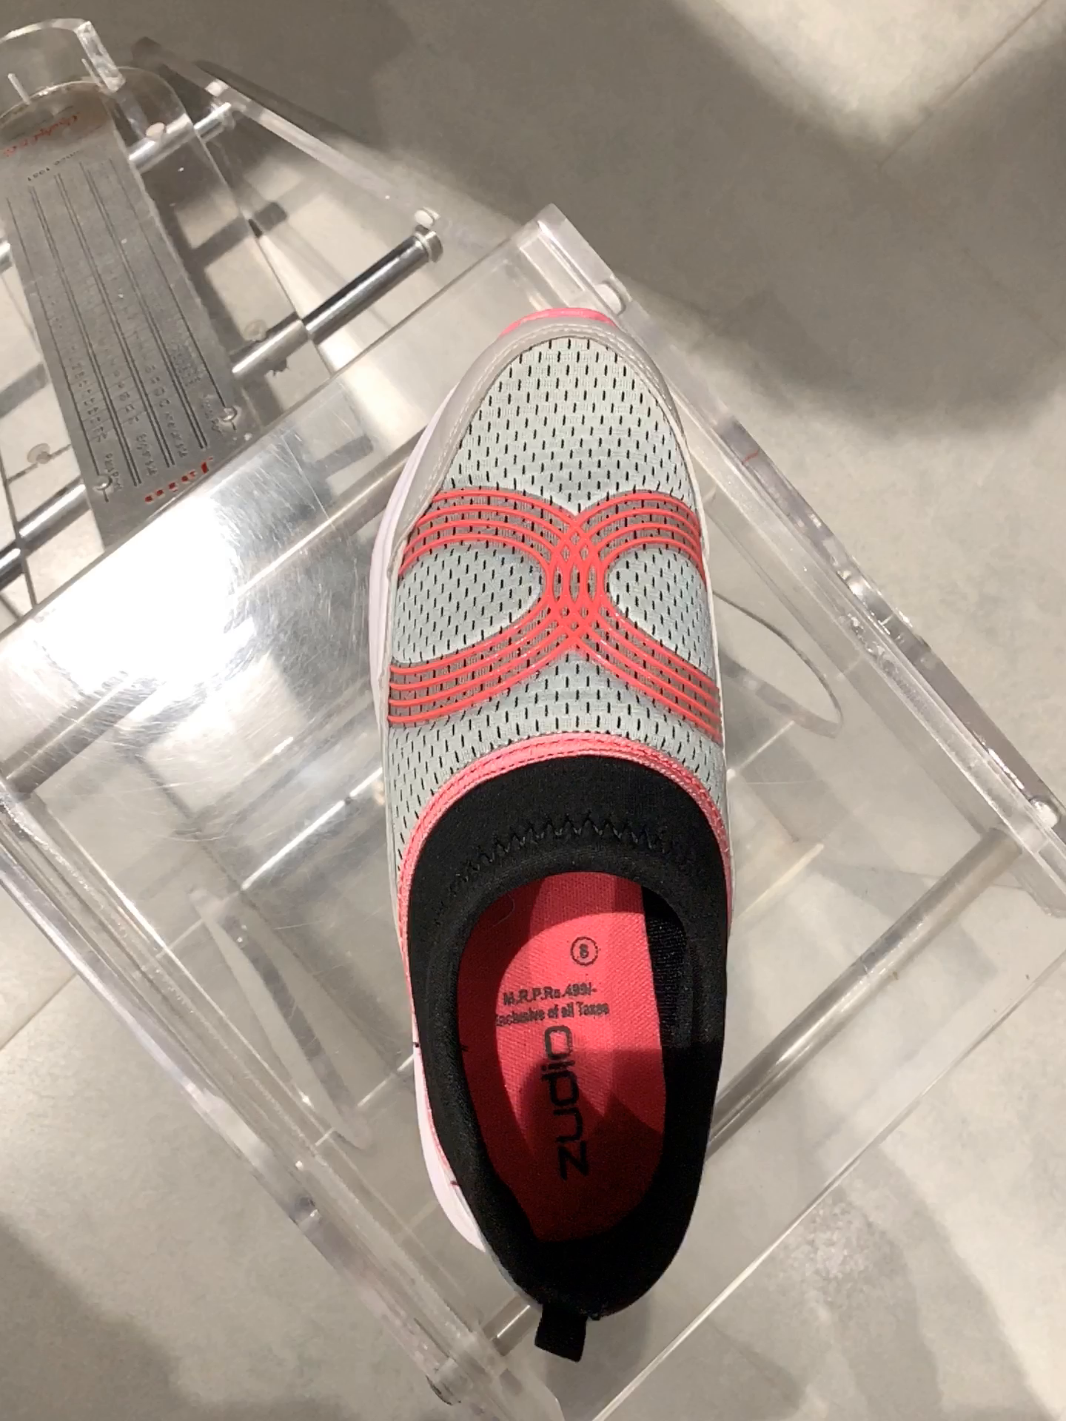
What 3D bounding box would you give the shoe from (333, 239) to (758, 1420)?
[{"bbox_3d":[-0.003,0.027,0.325,0.100,0.080,0.300,-2,85,-7],"label":"shoe"}]
